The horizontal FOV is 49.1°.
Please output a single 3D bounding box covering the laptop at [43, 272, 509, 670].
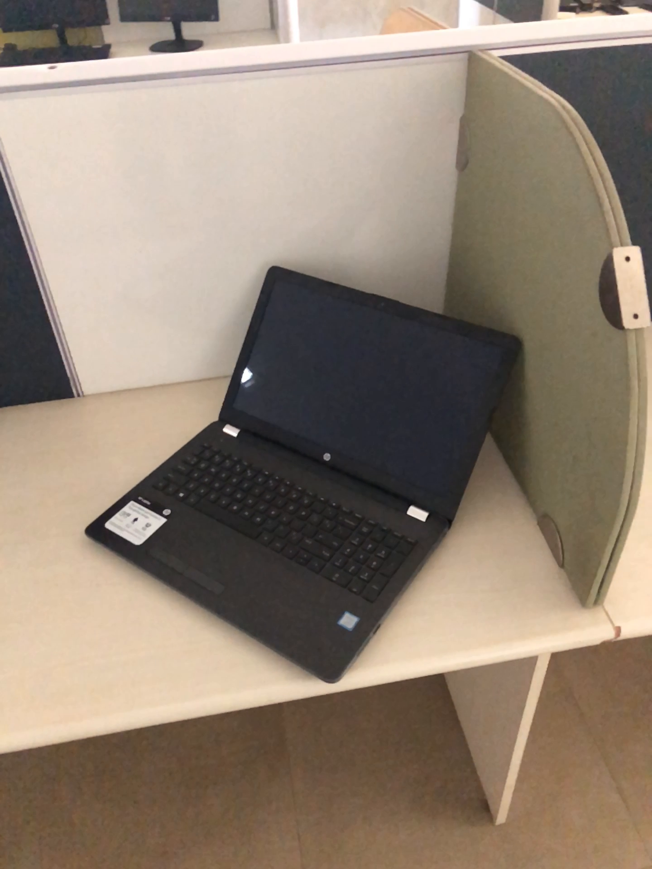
[{"bbox_3d":[-0.041,0.001,0.863,0.366,0.167,0.395,21,46,27],"label":"laptop"}]
